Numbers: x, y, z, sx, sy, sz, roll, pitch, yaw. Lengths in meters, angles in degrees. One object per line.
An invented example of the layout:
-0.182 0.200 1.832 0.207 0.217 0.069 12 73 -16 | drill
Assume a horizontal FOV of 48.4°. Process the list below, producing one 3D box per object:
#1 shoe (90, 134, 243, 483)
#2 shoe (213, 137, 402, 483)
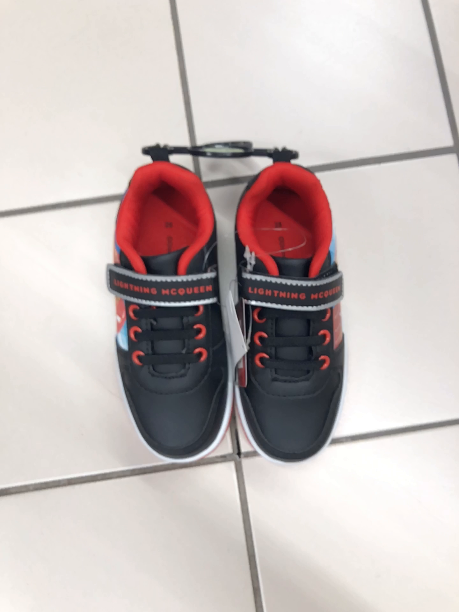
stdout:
-0.040 0.000 0.338 0.080 0.054 0.209 -5 81 -1 | shoe
0.045 0.001 0.339 0.094 0.054 0.207 -5 81 -1 | shoe
